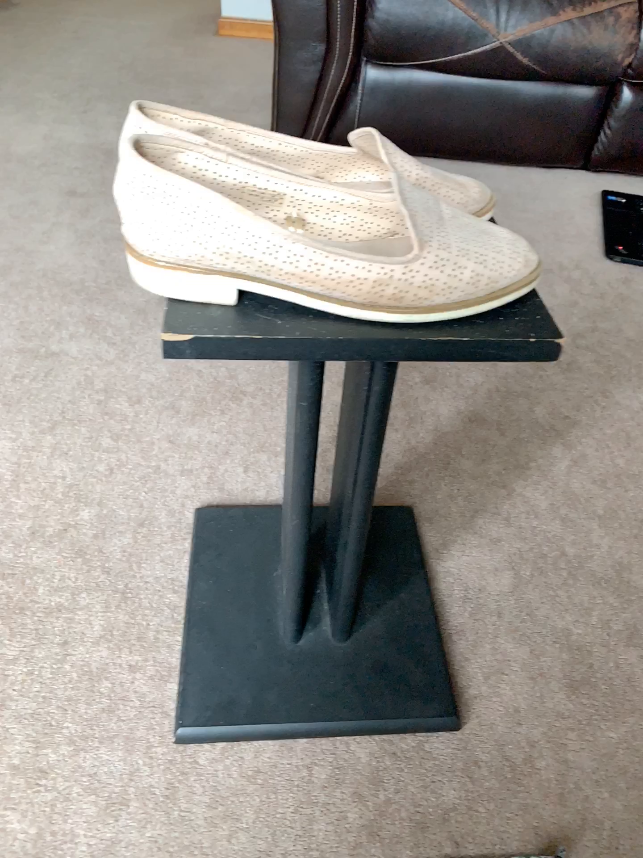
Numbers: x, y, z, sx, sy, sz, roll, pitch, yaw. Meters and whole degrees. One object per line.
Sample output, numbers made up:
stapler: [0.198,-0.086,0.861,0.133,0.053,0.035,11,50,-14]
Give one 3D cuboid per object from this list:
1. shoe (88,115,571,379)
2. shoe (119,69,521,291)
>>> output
shoe: [0.002,-0.104,0.389,0.250,0.079,0.081,8,43,-9]
shoe: [-0.005,-0.164,0.451,0.250,0.079,0.081,3,42,-18]
